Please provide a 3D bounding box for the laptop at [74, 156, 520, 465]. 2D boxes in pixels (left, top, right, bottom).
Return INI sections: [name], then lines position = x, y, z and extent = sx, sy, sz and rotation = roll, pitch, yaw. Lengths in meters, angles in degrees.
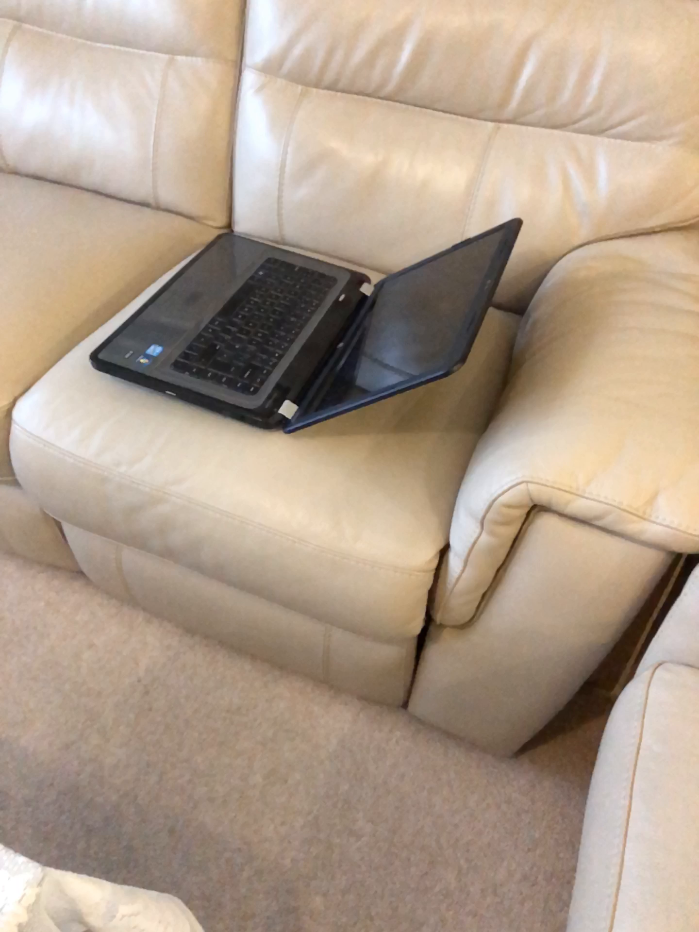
[laptop]
position = -0.038, -0.216, 0.952
extent = 0.424, 0.114, 0.360
rotation = 16, 46, 10
